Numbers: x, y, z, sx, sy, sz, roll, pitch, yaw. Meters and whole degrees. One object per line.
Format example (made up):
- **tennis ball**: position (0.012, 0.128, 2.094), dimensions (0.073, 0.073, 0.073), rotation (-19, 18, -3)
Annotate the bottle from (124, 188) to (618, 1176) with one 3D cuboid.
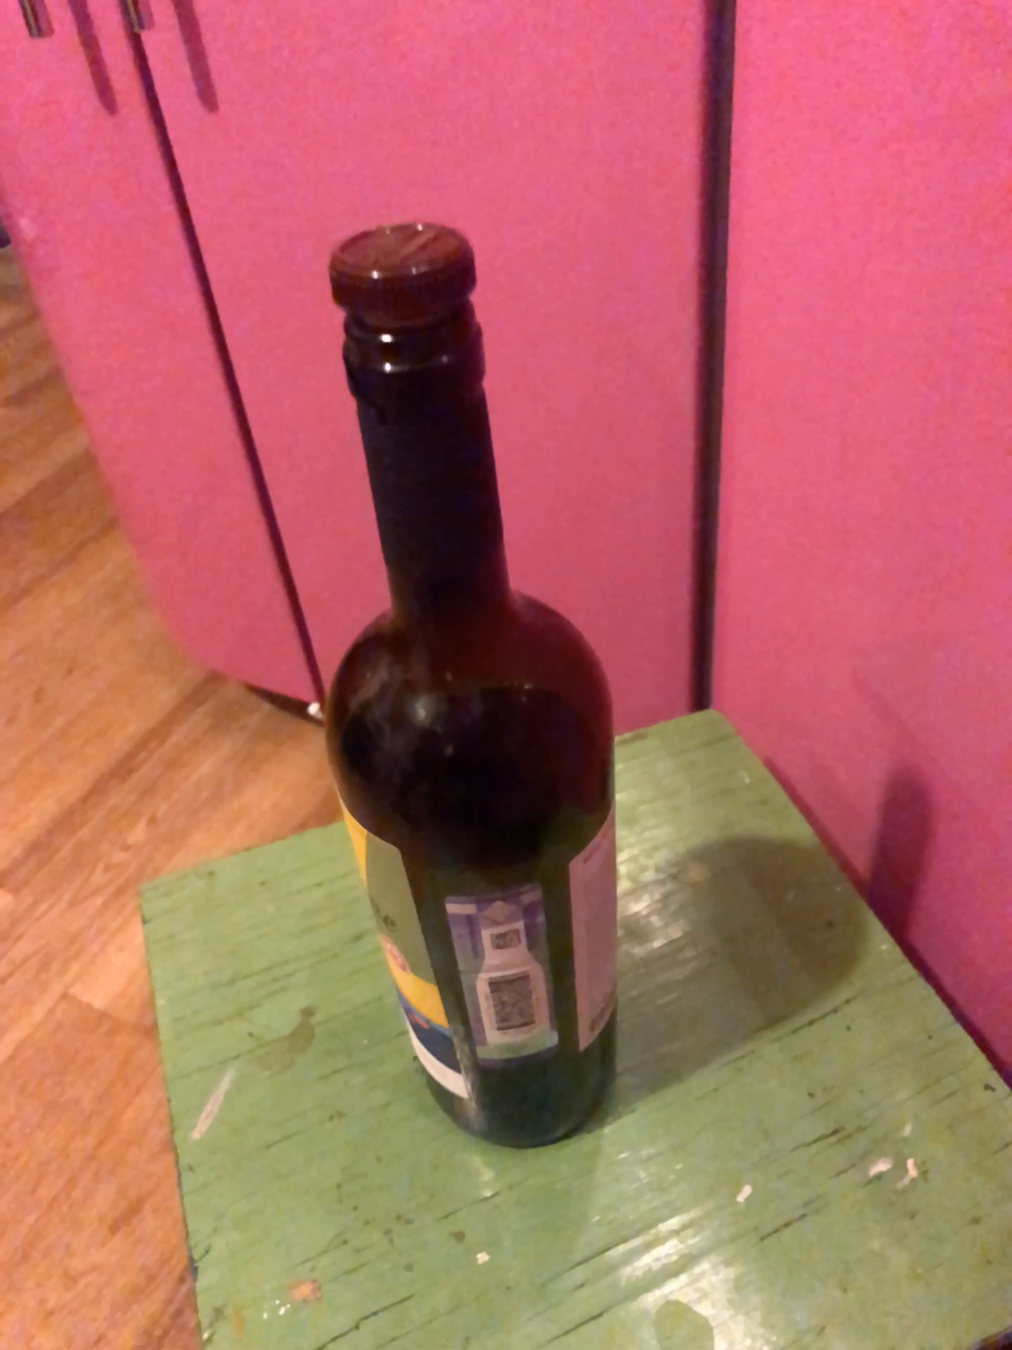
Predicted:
- **bottle**: position (-0.011, 0.033, 0.314), dimensions (0.071, 0.301, 0.072), rotation (-4, 42, 3)
